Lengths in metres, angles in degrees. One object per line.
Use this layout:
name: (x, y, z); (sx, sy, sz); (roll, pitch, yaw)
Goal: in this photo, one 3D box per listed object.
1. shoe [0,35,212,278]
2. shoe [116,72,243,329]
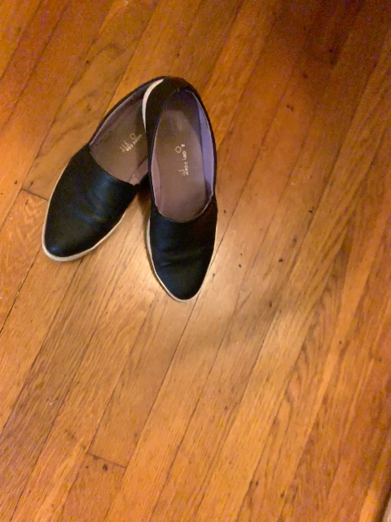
shoe: (-0.101, -0.115, 0.478); (0.100, 0.080, 0.260); (36, 83, -4)
shoe: (-0.016, -0.063, 0.447); (0.100, 0.080, 0.250); (-9, 109, -7)
